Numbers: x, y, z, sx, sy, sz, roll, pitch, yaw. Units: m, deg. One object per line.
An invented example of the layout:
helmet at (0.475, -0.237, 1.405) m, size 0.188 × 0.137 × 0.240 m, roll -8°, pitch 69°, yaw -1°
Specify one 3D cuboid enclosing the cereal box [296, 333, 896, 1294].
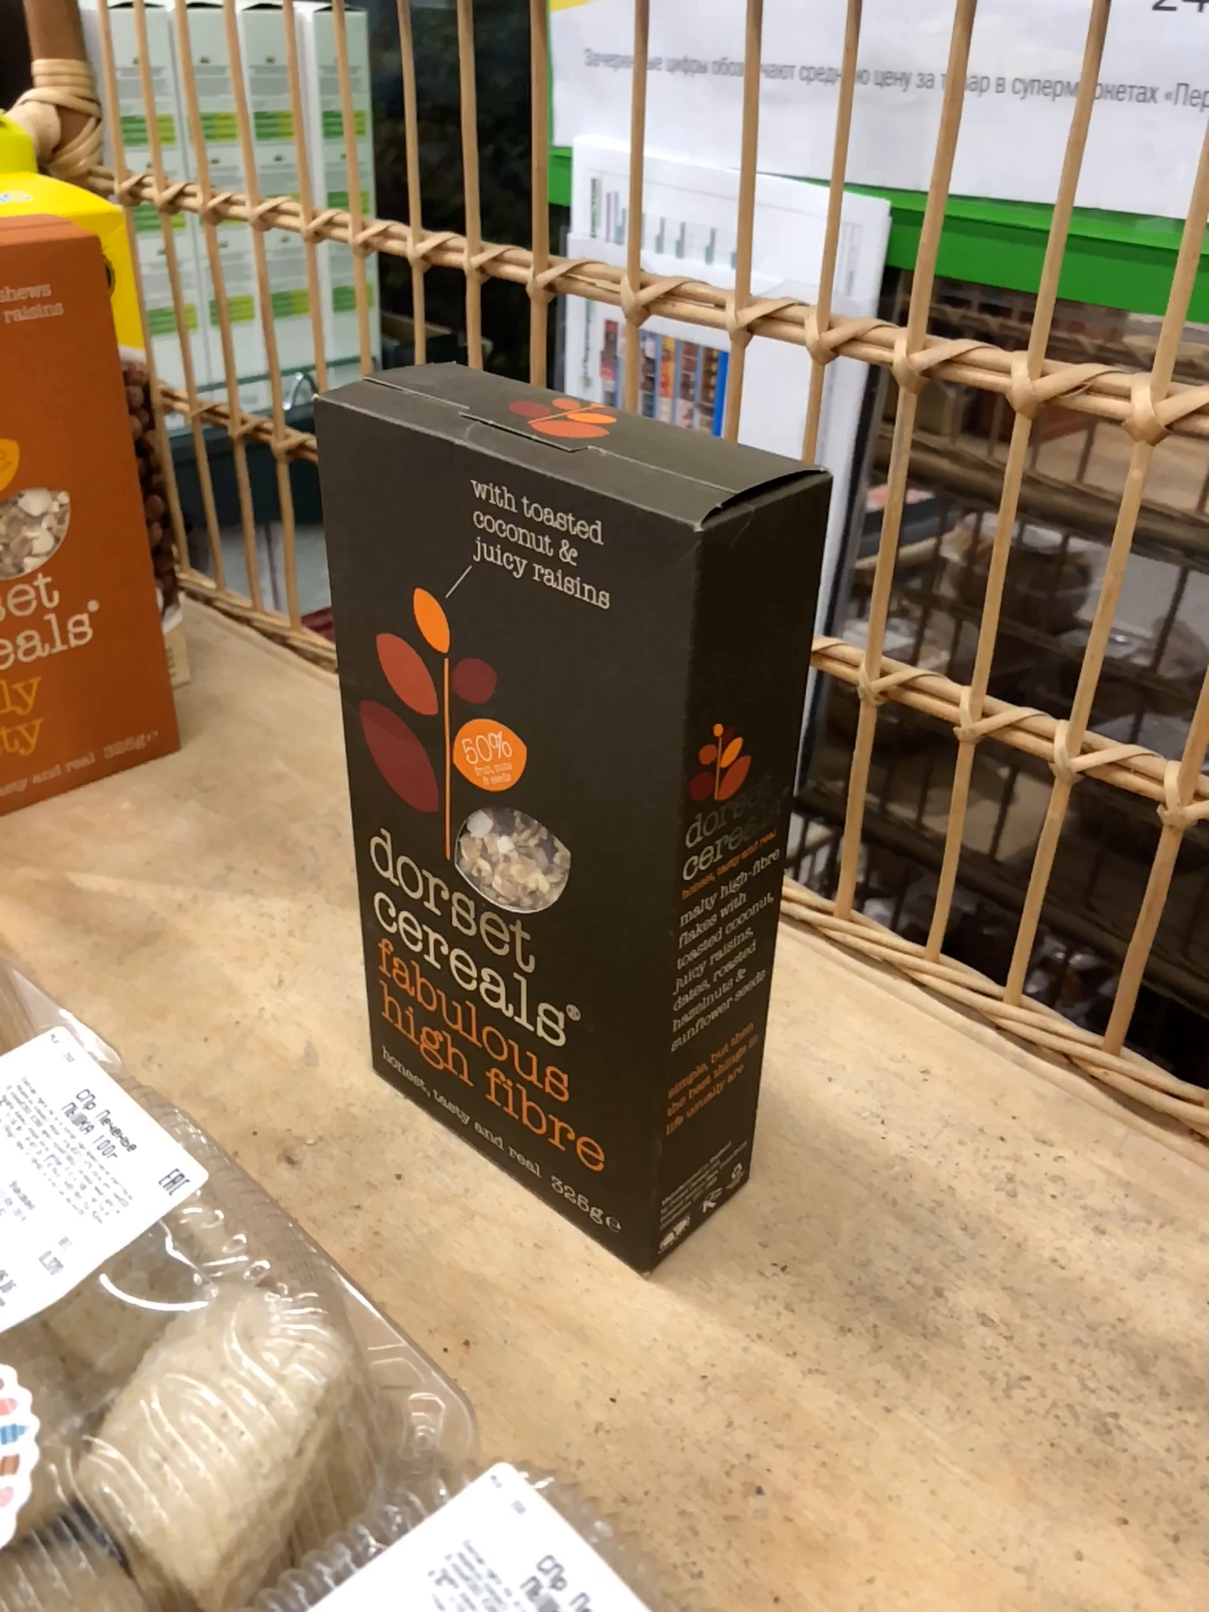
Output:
cereal box at (-0.010, 0.003, 0.343) m, size 0.130 × 0.209 × 0.050 m, roll 27°, pitch 39°, yaw 34°
